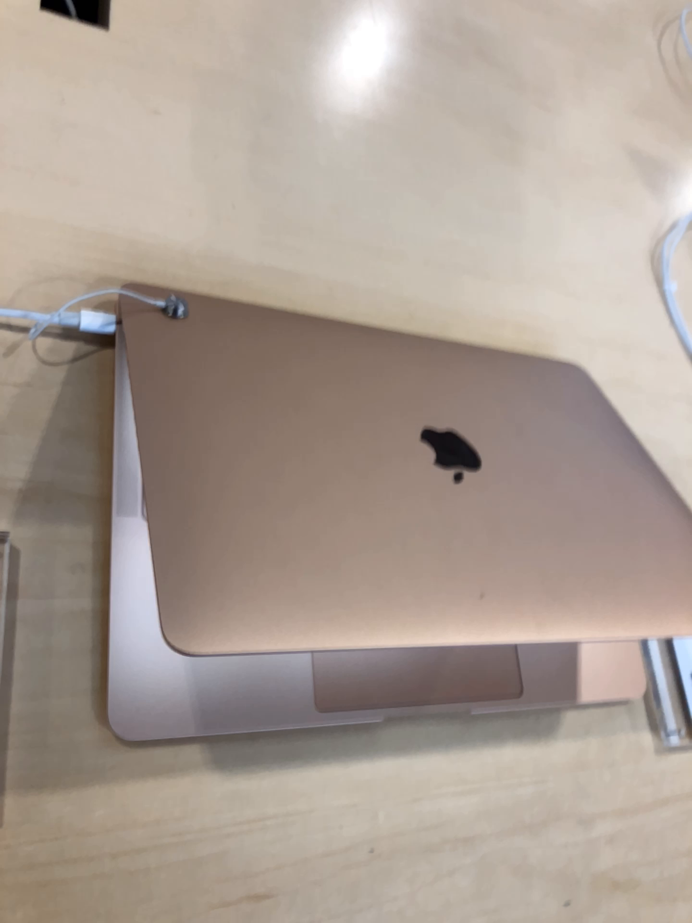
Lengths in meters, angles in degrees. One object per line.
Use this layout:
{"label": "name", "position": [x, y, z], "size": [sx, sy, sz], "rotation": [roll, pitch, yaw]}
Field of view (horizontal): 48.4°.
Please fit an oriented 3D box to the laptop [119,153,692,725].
{"label": "laptop", "position": [0.055, 0.002, 0.360], "size": [0.289, 0.093, 0.203], "rotation": [5, 66, -27]}
